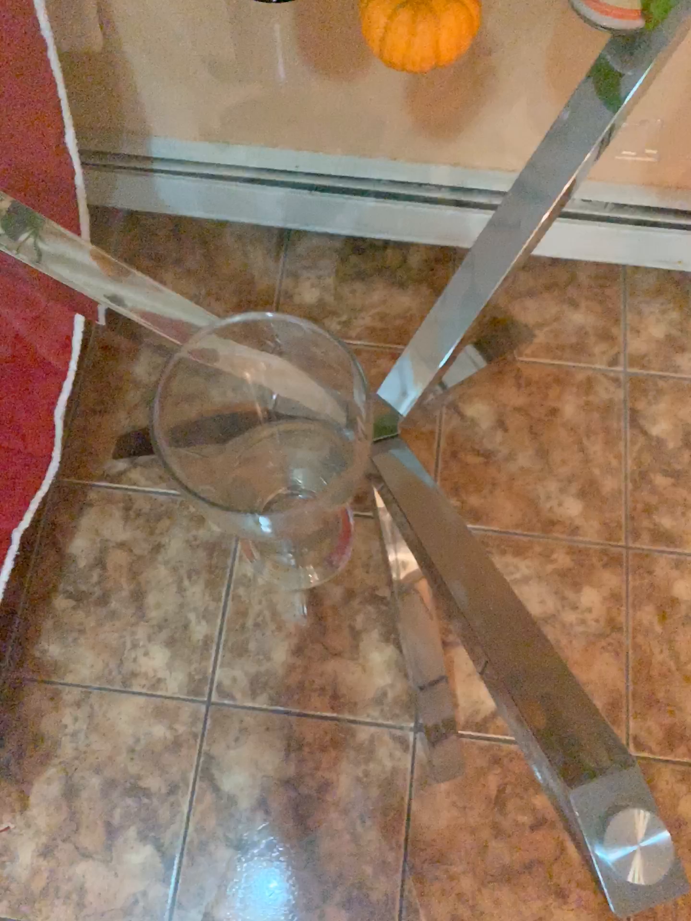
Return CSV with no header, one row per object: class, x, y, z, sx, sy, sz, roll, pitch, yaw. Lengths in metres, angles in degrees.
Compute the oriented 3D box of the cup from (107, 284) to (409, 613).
cup,-0.031,0.013,0.367,0.100,0.212,0.093,0,71,0
